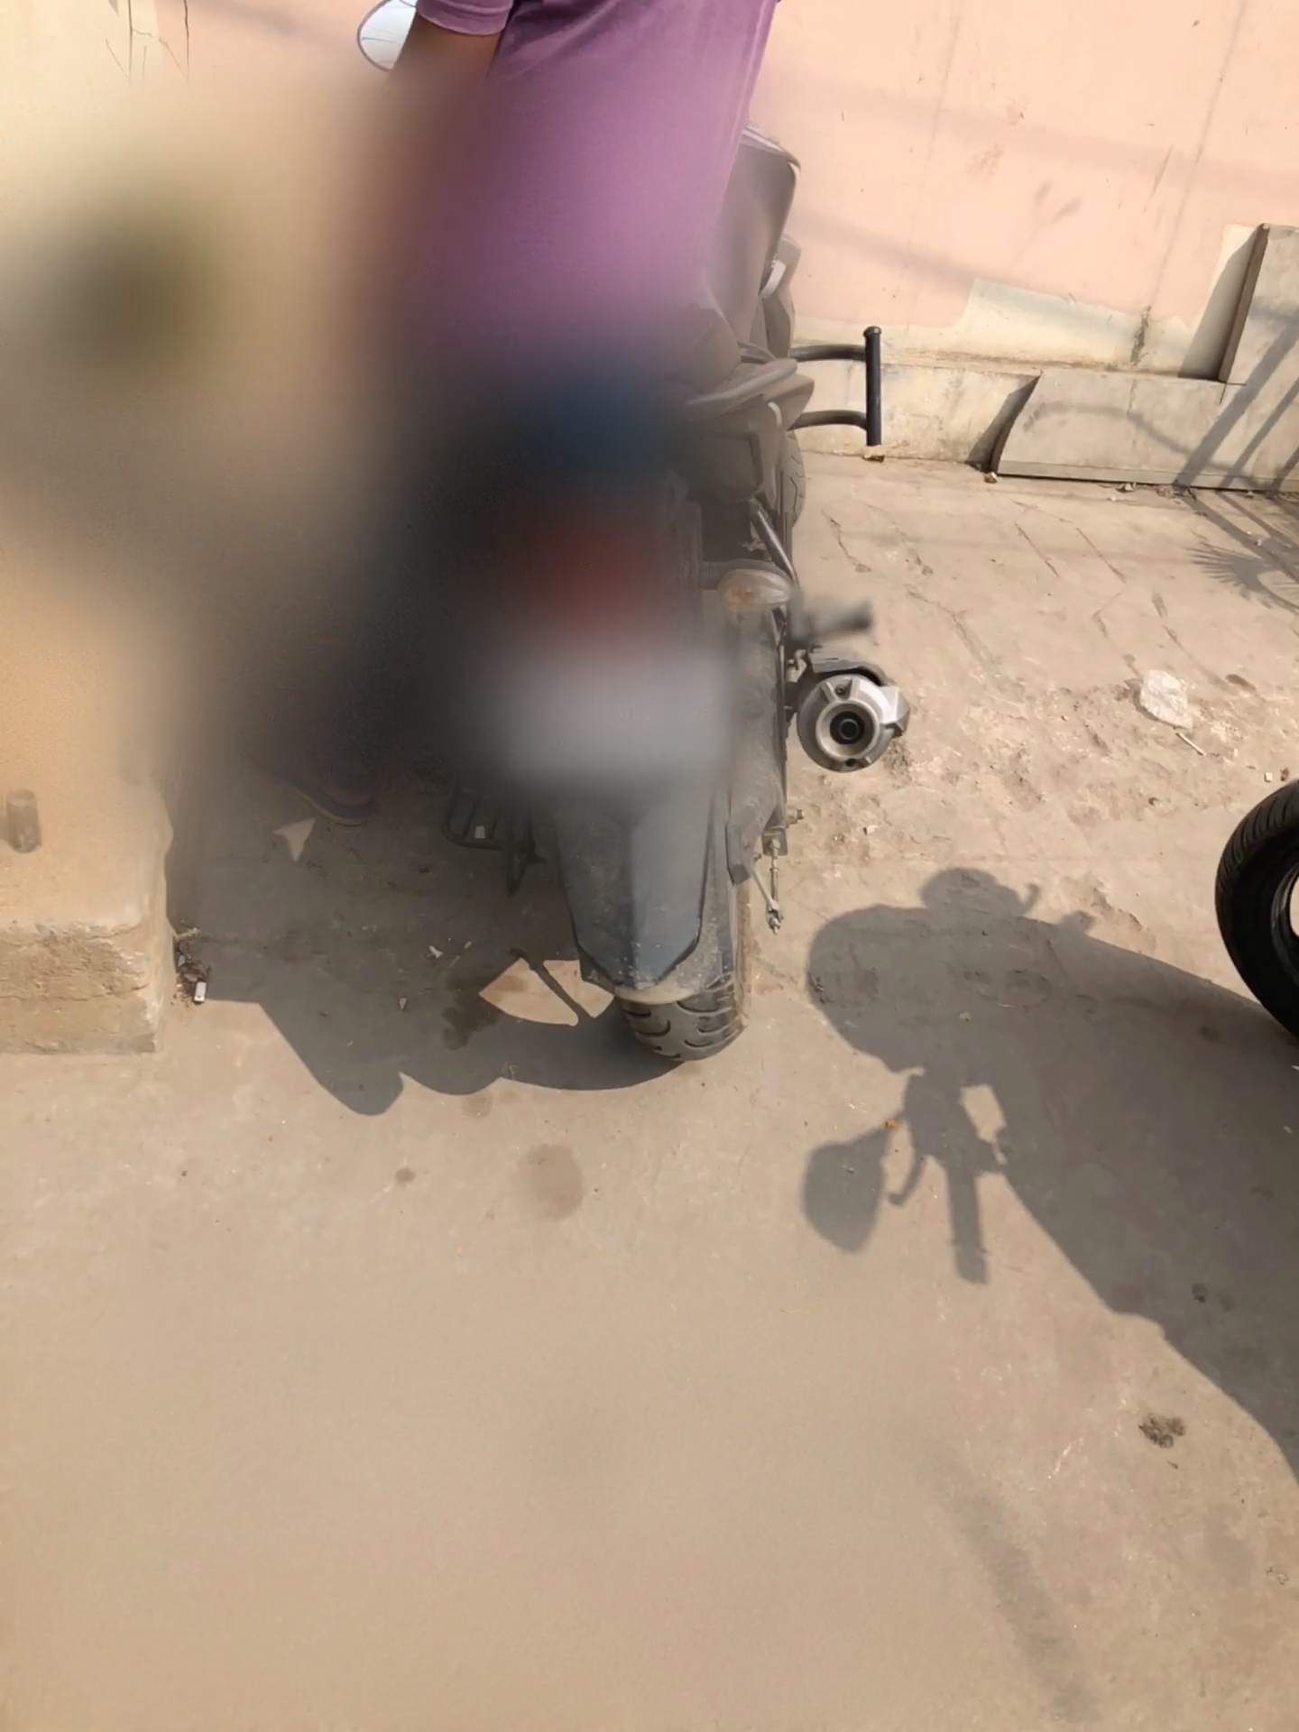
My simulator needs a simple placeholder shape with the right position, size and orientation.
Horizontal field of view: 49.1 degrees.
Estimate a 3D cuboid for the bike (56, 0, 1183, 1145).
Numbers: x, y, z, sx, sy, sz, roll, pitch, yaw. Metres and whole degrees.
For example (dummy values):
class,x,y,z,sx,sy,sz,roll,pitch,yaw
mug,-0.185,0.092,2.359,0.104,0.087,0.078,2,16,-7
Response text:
class,x,y,z,sx,sy,sz,roll,pitch,yaw
bike,-0.158,-0.840,2.028,0.809,1.221,1.837,3,41,-8
